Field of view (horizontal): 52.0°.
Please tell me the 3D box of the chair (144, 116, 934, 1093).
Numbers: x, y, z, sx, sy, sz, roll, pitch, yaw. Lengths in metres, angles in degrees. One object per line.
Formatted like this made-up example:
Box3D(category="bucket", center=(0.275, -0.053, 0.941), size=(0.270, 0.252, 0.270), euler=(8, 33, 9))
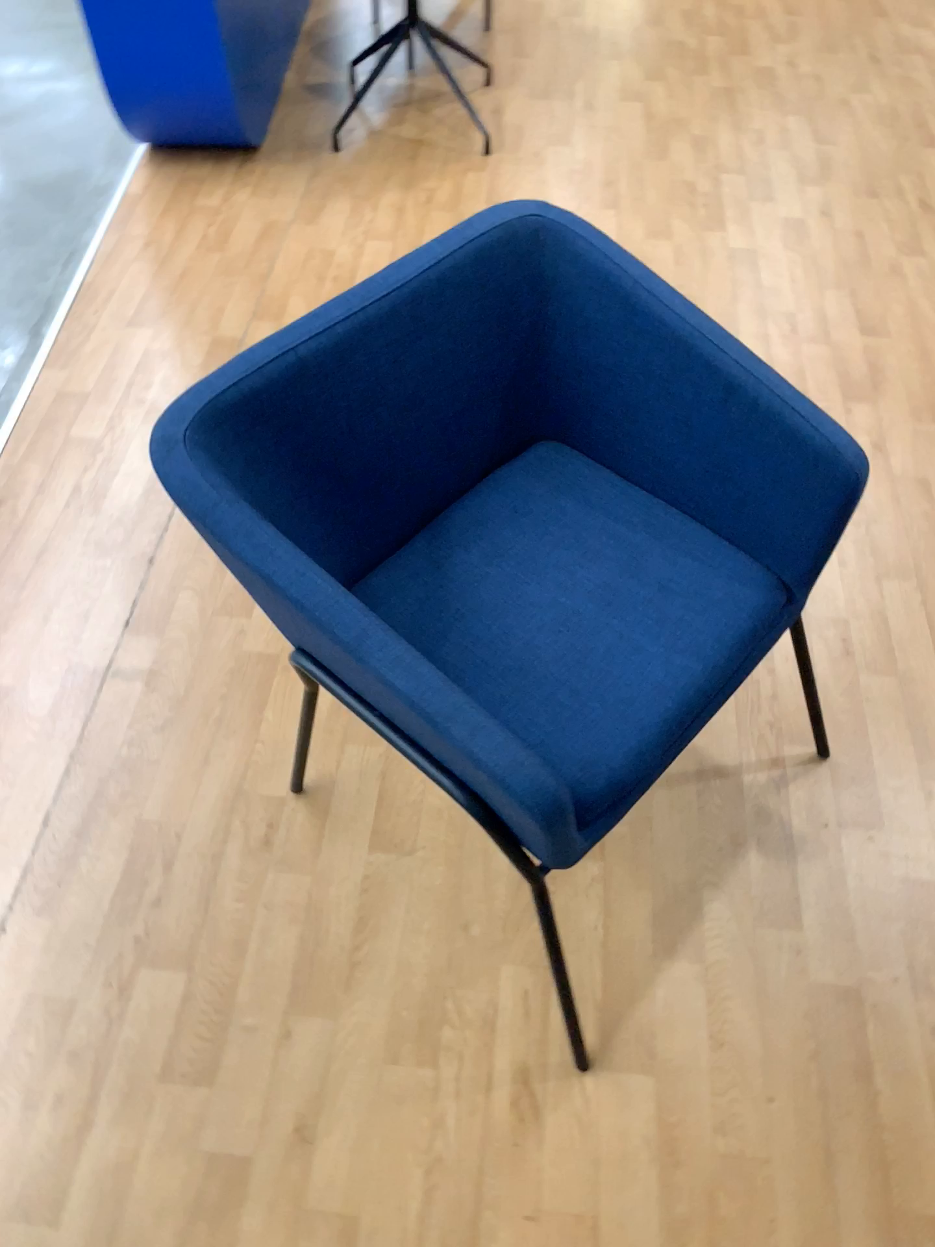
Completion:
Box3D(category="chair", center=(0.193, -0.048, 1.207), size=(0.753, 0.685, 0.702), euler=(37, 60, 24))
